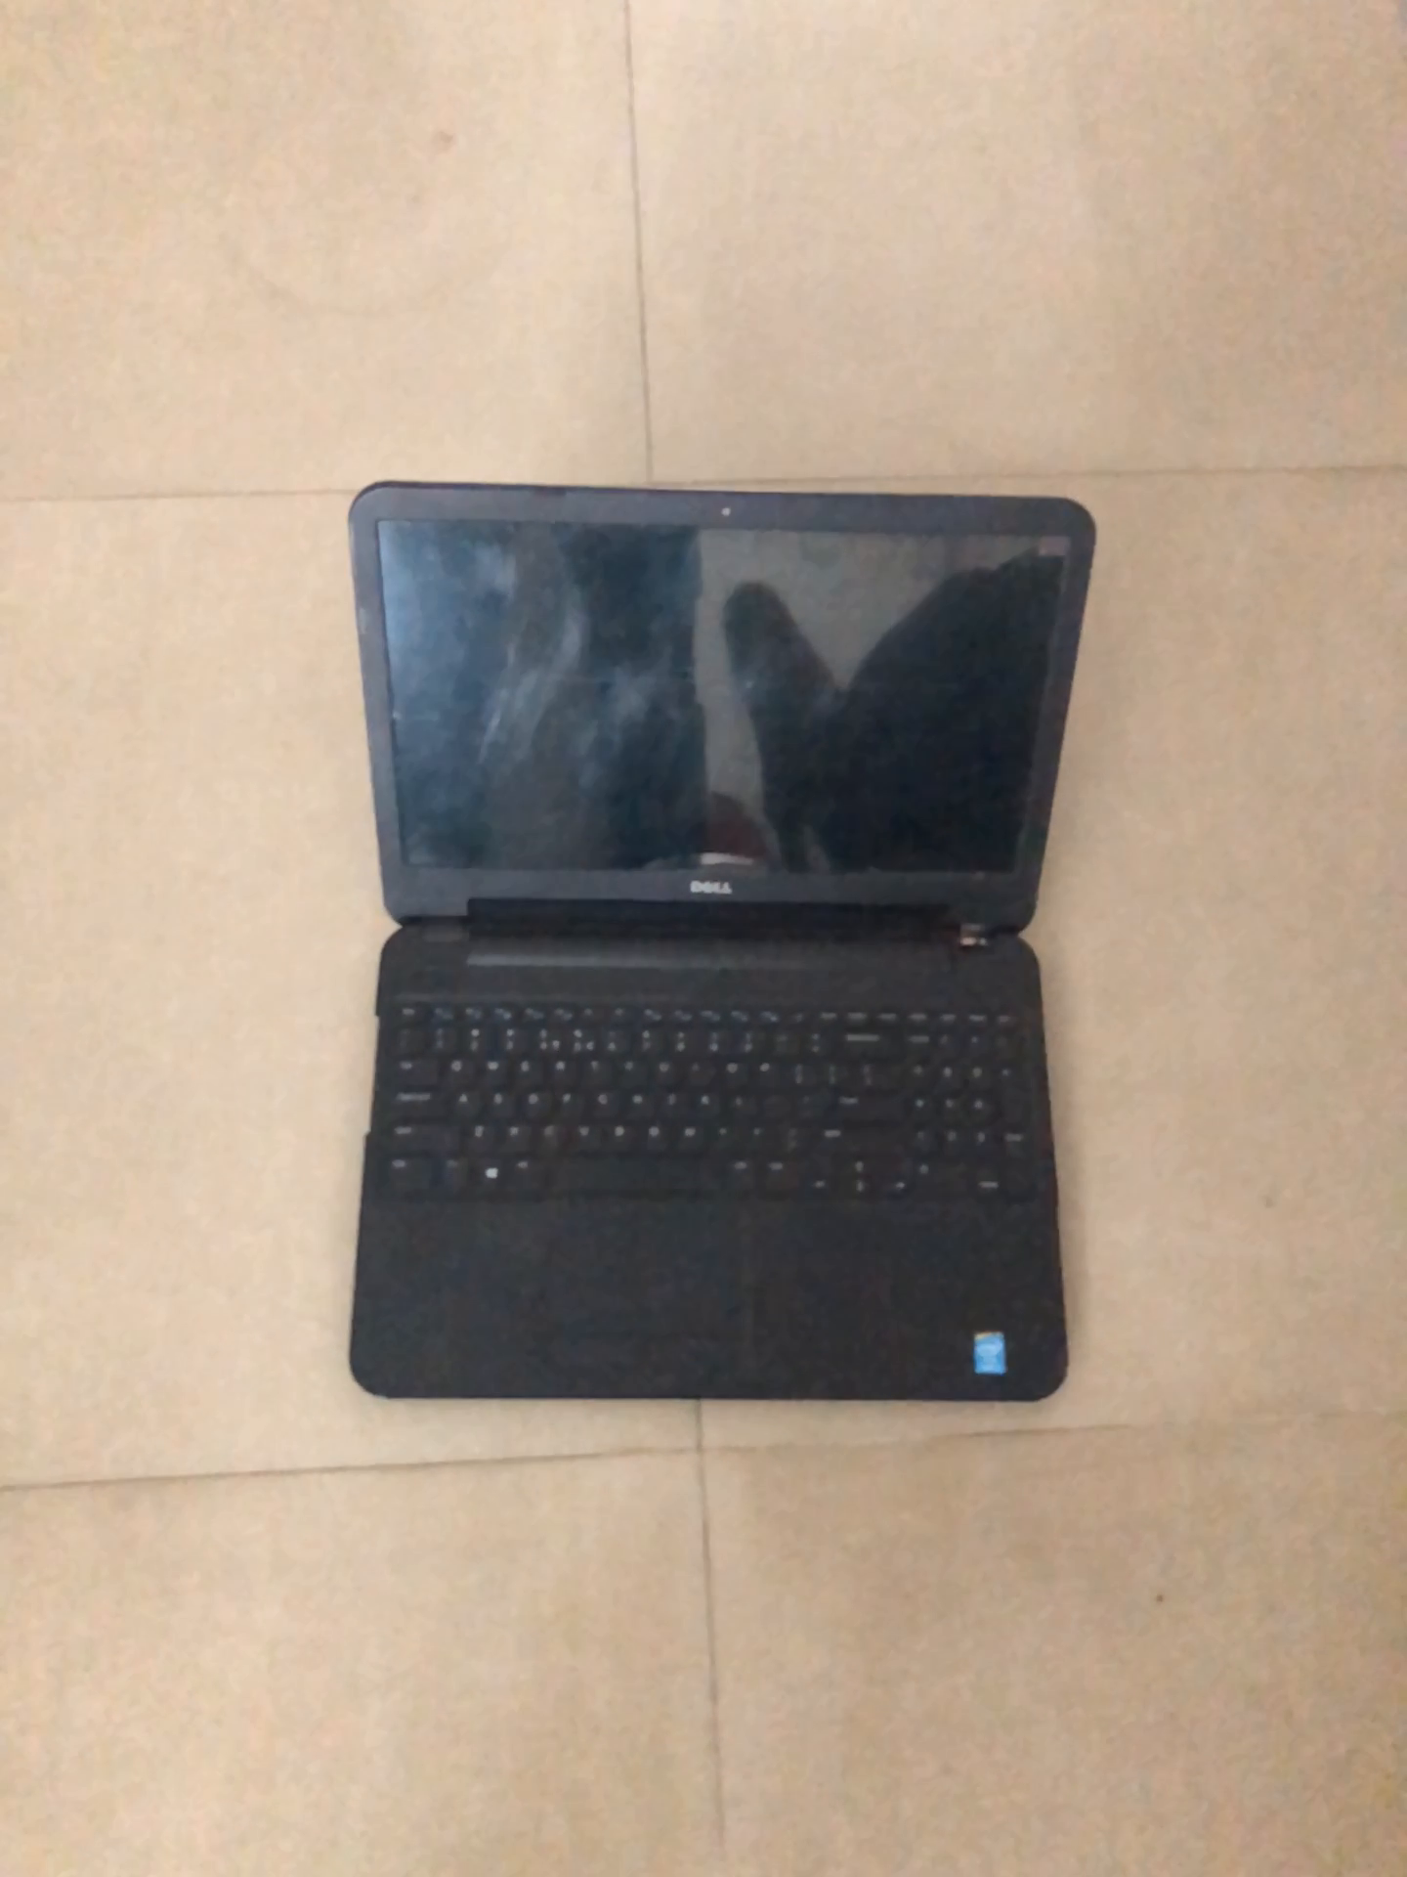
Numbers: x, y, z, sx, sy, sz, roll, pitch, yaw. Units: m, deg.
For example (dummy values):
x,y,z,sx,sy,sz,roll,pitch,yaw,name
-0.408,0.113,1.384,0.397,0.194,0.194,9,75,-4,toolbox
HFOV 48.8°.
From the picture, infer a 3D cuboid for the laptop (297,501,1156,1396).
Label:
x,y,z,sx,sy,sz,roll,pitch,yaw,name
0.007,0.010,0.772,0.343,0.179,0.406,0,70,-1,laptop
